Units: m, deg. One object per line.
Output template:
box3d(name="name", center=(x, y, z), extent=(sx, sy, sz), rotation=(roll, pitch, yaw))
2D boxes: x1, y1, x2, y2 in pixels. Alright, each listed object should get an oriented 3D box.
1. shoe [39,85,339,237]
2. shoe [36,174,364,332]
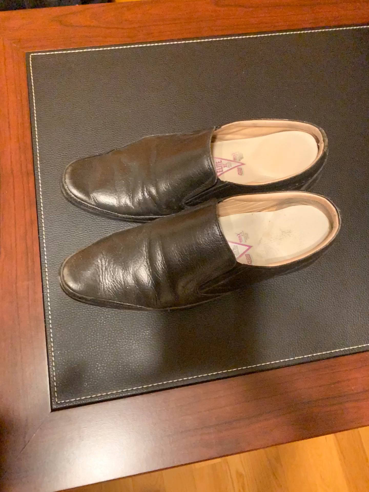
box3d(name="shoe", center=(0.002, -0.092, 0.413), extent=(0.284, 0.078, 0.110), rotation=(-7, 74, -6))
box3d(name="shoe", center=(0.012, 0.008, 0.379), extent=(0.284, 0.078, 0.106), rotation=(-7, 74, -6))
